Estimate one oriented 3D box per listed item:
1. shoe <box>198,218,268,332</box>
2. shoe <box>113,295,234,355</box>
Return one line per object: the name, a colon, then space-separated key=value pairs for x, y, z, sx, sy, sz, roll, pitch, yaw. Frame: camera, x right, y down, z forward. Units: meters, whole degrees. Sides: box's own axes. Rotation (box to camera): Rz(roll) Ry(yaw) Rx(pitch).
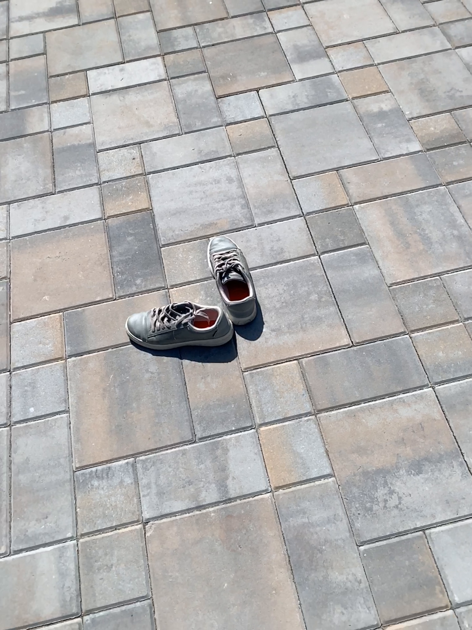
shoe: x=-0.012 y=-0.117 z=1.363 sx=0.120 sy=0.090 sz=0.301 roll=-15 pitch=62 yaw=-5
shoe: x=-0.160 y=0.029 z=1.291 sx=0.300 sy=0.110 sz=0.120 roll=-1 pitch=62 yaw=3
